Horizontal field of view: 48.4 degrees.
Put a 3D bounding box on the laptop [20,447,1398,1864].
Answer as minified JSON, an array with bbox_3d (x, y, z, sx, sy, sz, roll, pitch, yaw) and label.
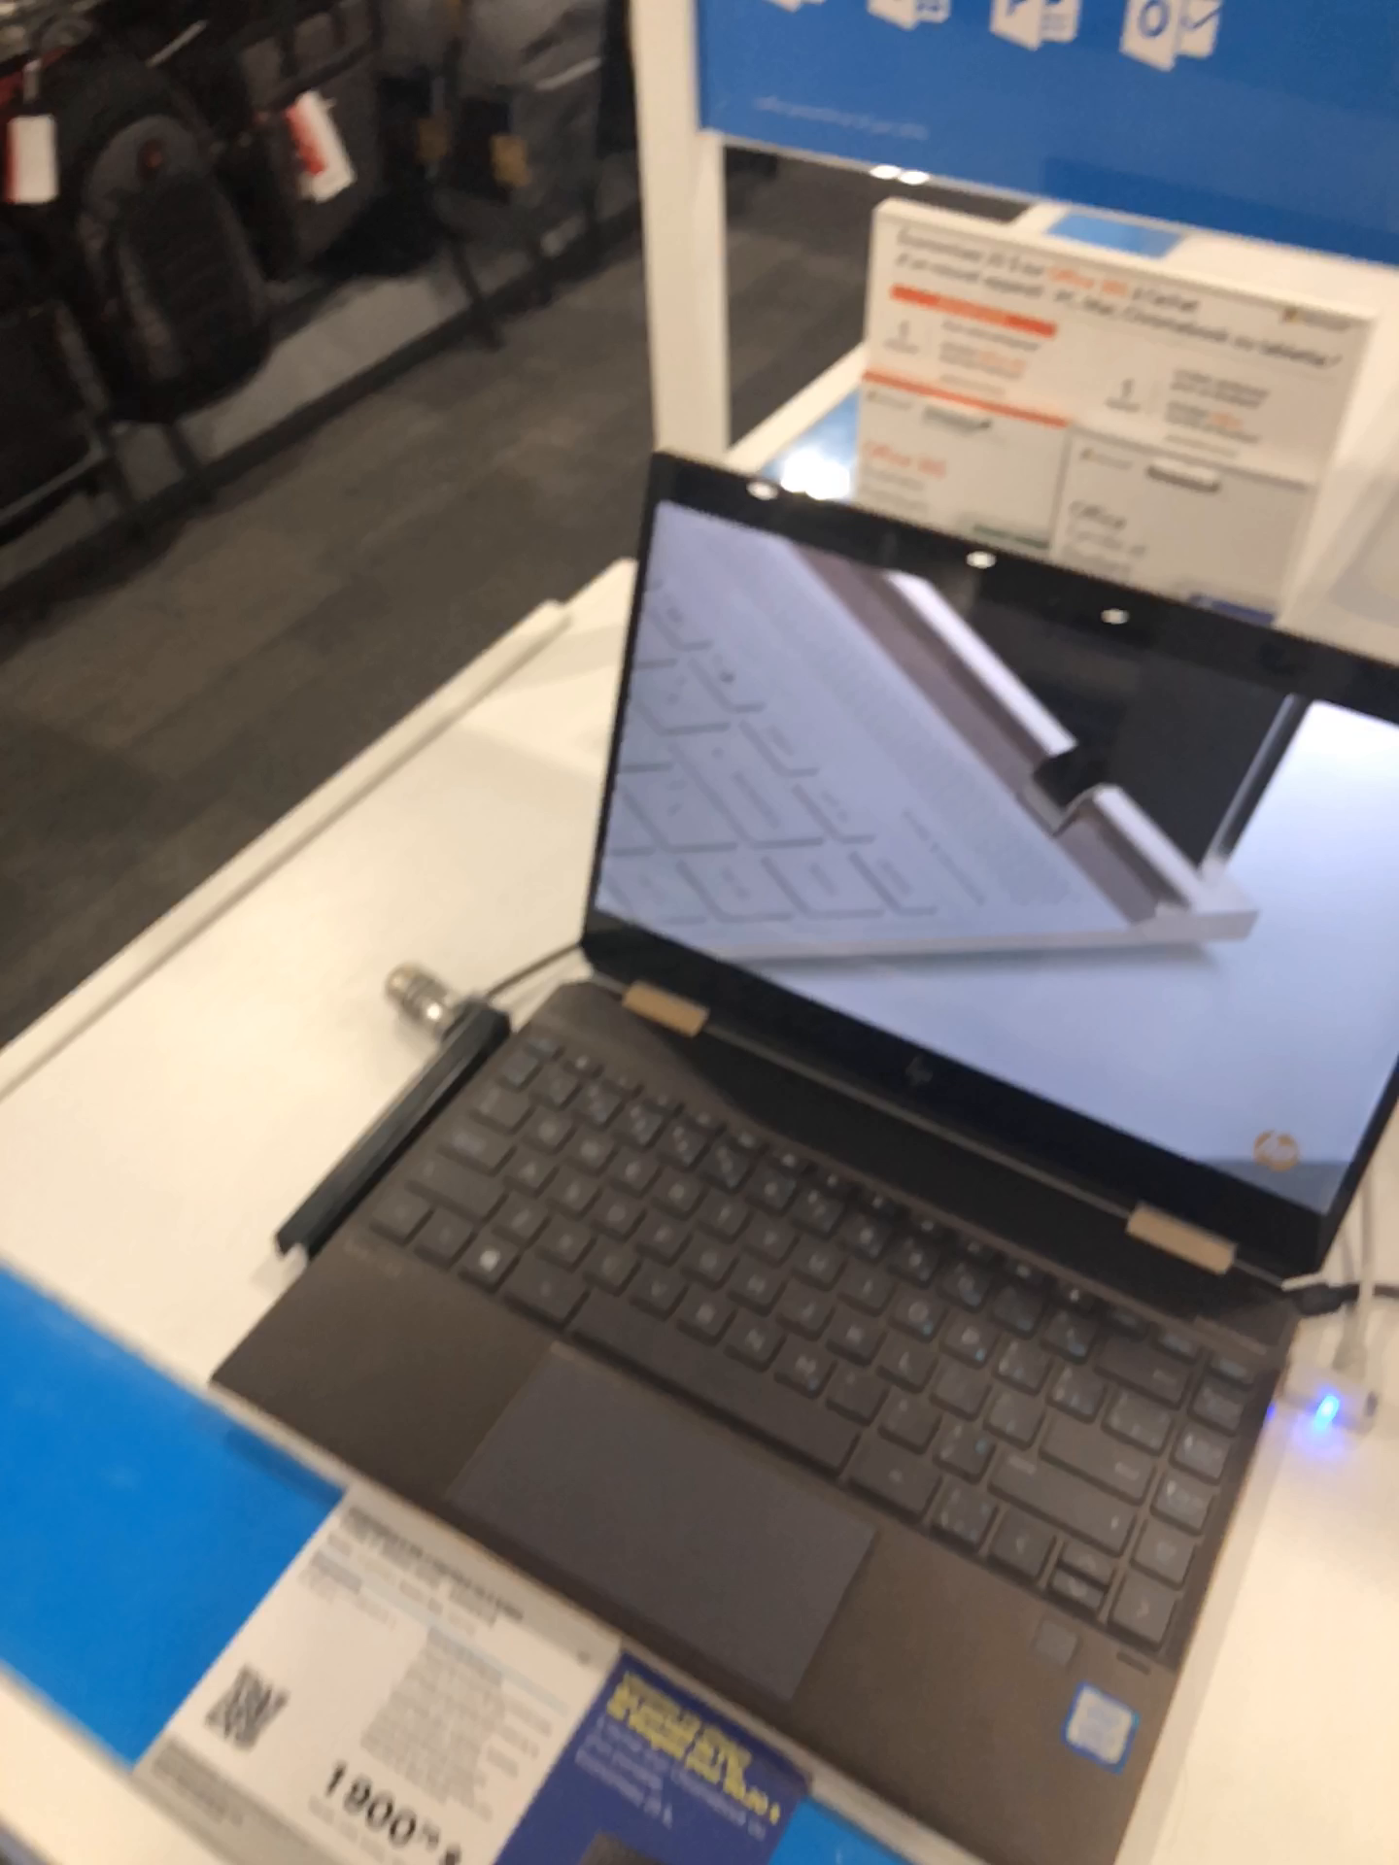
[{"bbox_3d":[0.038,0.043,0.473,0.297,0.197,0.285,23,49,21],"label":"laptop"}]
